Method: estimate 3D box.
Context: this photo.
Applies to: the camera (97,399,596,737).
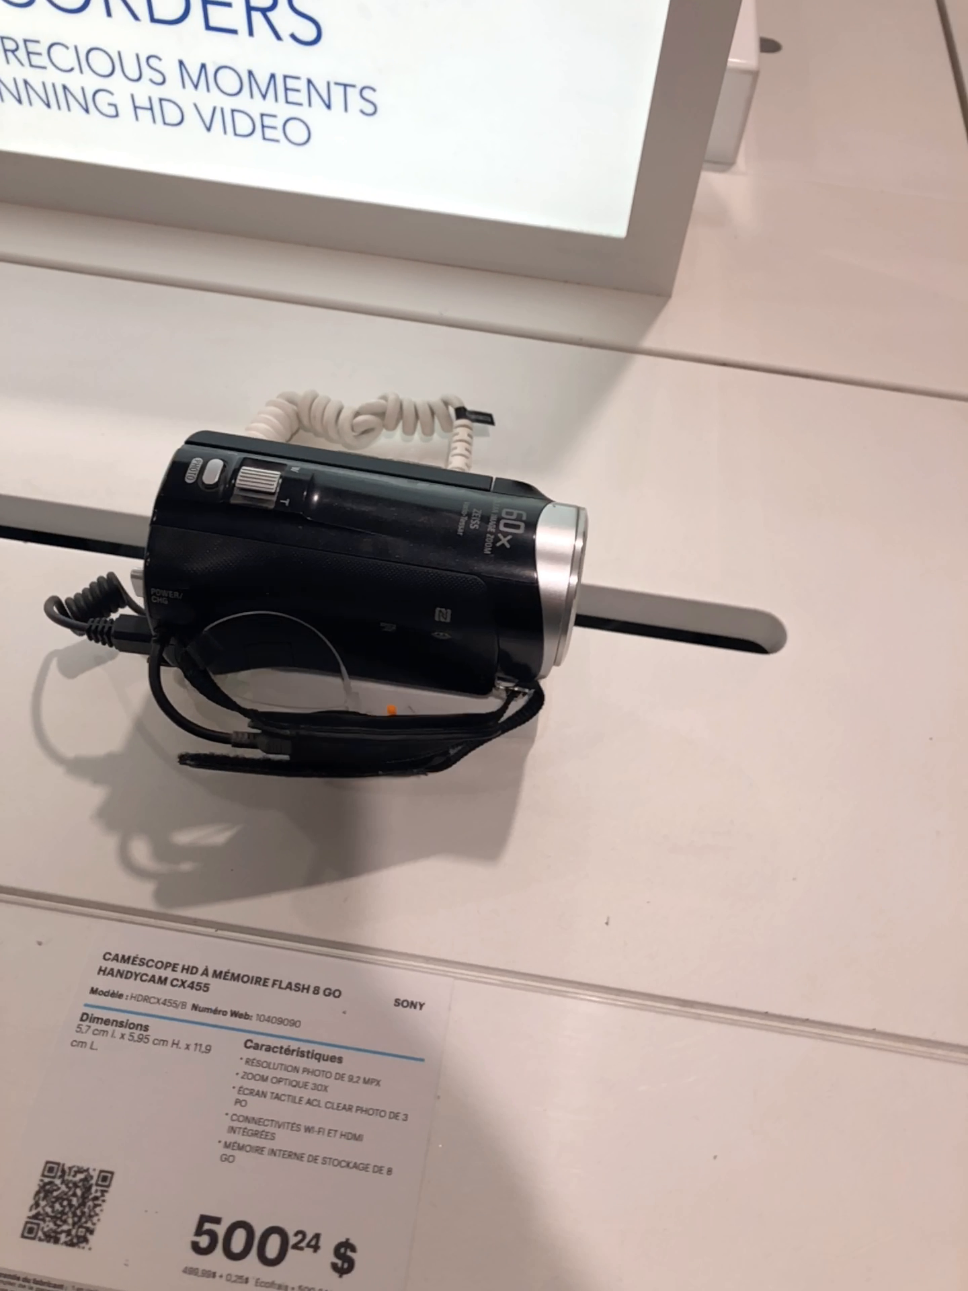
[{"bbox_3d":[-0.034,-0.021,0.305,0.121,0.058,0.057,8,55,1],"label":"camera"}]
